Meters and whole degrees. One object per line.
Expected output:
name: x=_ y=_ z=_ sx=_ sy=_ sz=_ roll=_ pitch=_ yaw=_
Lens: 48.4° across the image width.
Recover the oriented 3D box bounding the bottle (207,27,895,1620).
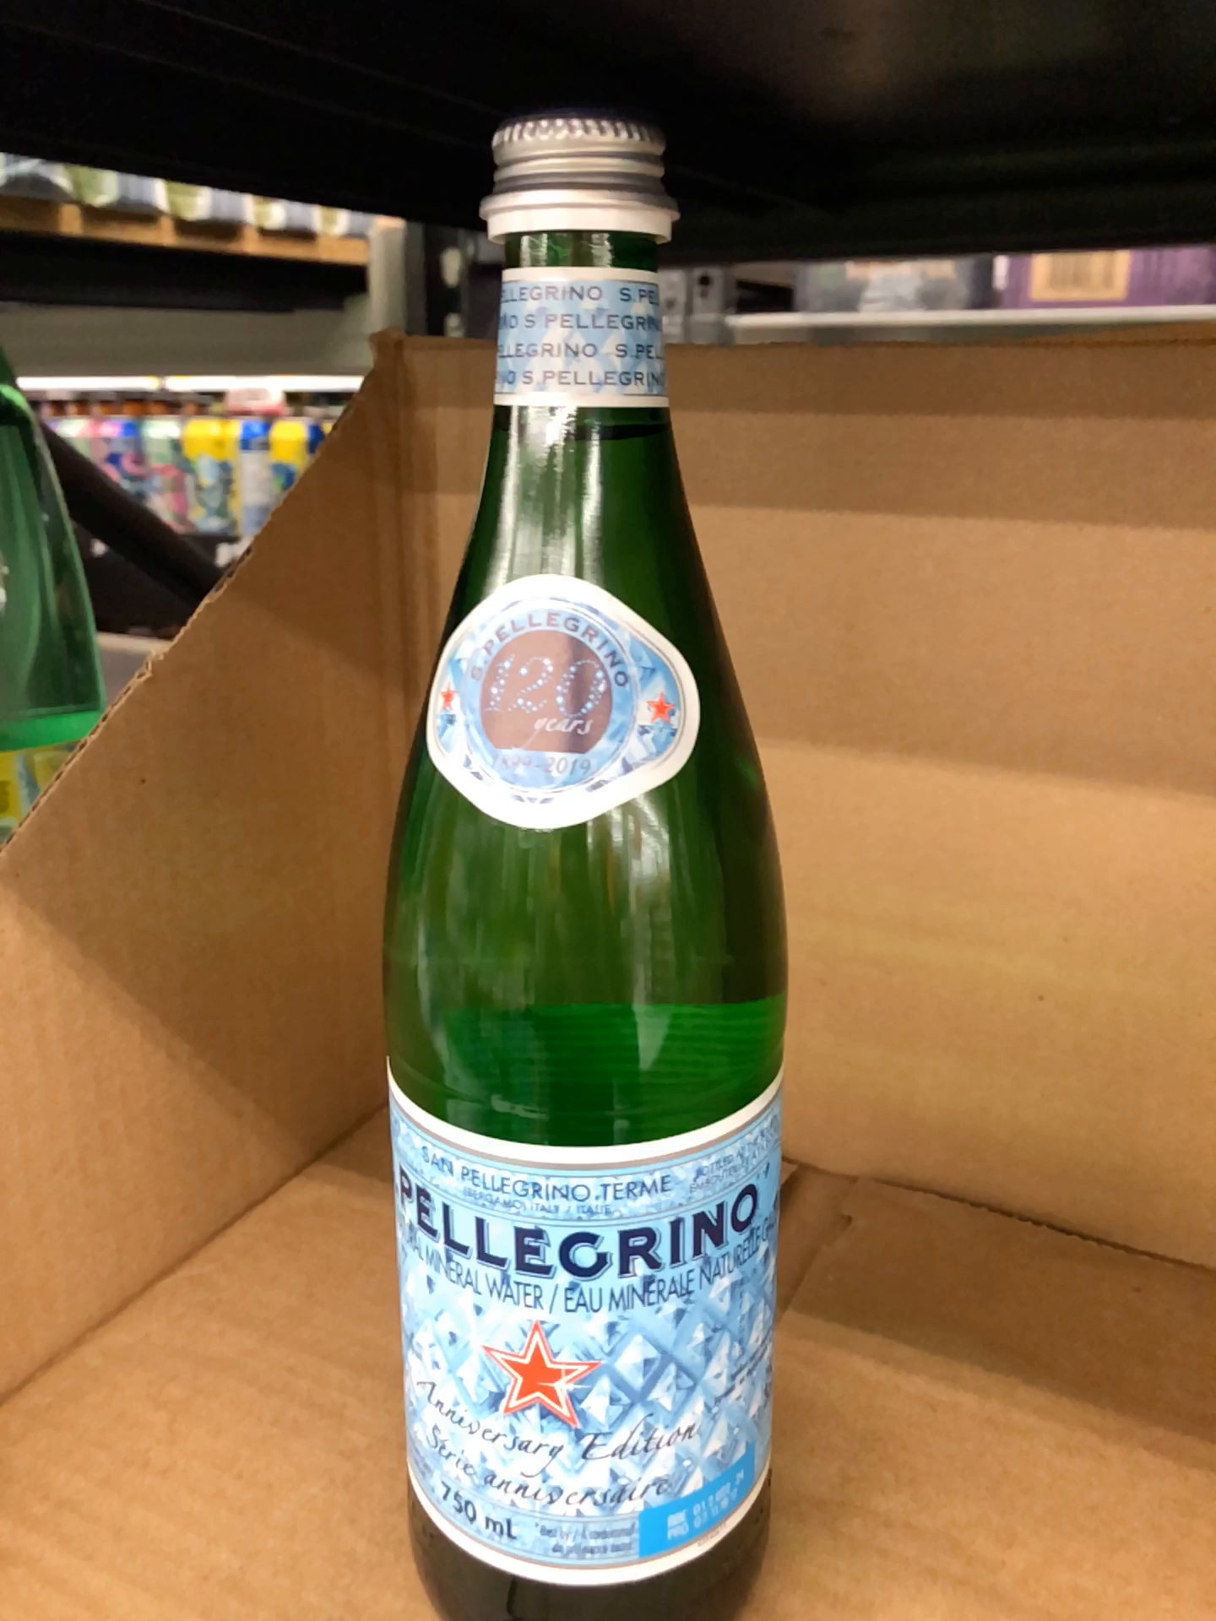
bottle: x=-0.005 y=0.028 z=0.244 sx=0.080 sy=0.278 sz=0.070 roll=8 pitch=18 yaw=25
